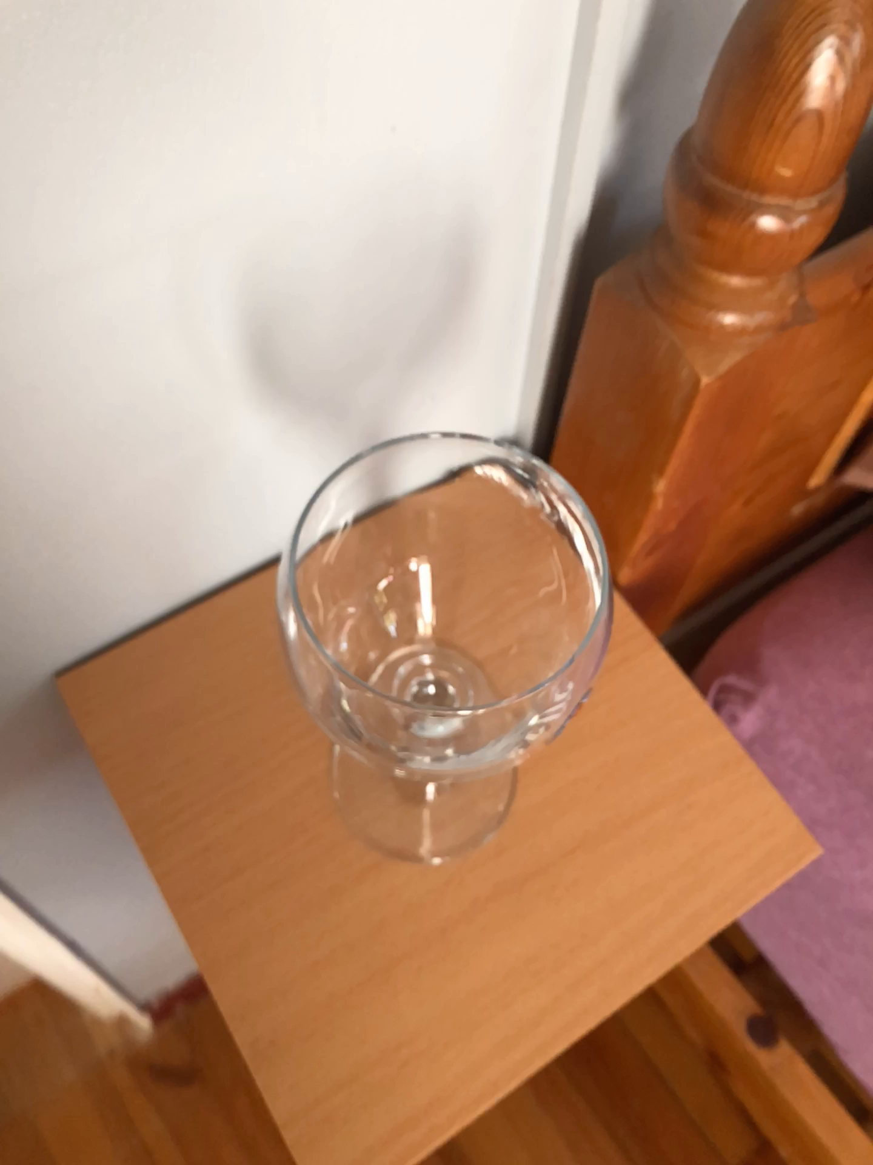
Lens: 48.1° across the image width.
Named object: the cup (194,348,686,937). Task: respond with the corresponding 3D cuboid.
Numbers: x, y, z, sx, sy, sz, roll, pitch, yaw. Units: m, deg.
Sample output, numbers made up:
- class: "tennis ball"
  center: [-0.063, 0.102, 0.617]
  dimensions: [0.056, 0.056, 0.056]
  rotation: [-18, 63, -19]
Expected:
- class: "cup"
  center: [-0.002, 0.033, 0.351]
  dimensions: [0.100, 0.185, 0.096]
  rotation: [1, 57, -2]
